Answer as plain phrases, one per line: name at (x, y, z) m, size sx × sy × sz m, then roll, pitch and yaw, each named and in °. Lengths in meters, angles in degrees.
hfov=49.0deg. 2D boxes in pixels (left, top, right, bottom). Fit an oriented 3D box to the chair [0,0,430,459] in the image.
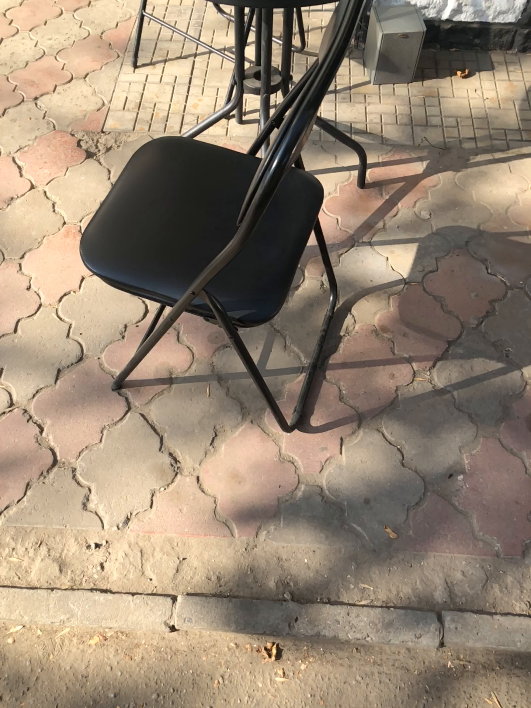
chair at (-0.073, -0.243, 1.047) m, size 0.500 × 0.638 × 0.531 m, roll 15°, pitch 58°, yaw 8°
